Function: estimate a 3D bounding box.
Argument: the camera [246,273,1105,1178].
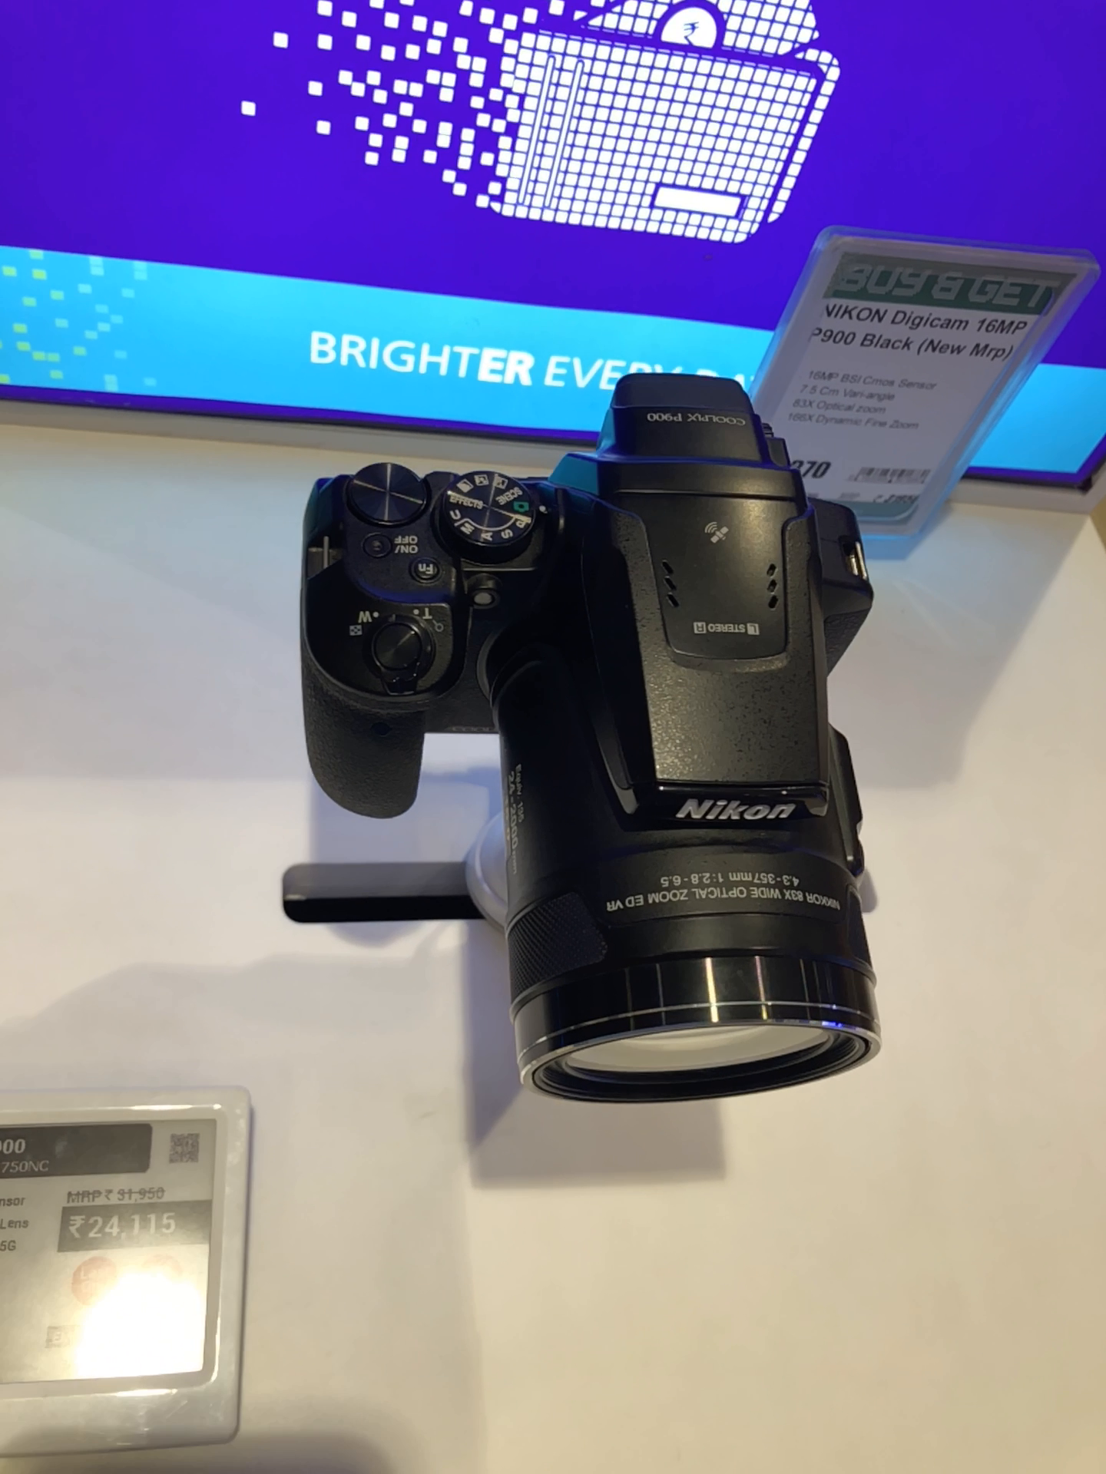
[{"bbox_3d":[0.011,0.000,0.251,0.140,0.099,0.141,1,57,-15],"label":"camera"}]
